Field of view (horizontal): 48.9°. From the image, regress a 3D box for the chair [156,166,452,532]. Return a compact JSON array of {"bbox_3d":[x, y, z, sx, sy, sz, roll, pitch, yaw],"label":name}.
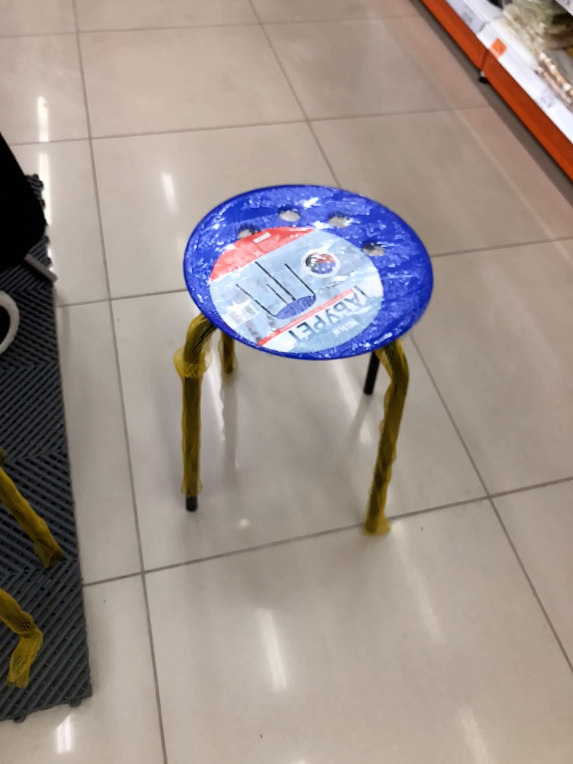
[{"bbox_3d":[0.018,-0.029,0.951,0.323,0.426,0.322,6,52,0],"label":"chair"}]
